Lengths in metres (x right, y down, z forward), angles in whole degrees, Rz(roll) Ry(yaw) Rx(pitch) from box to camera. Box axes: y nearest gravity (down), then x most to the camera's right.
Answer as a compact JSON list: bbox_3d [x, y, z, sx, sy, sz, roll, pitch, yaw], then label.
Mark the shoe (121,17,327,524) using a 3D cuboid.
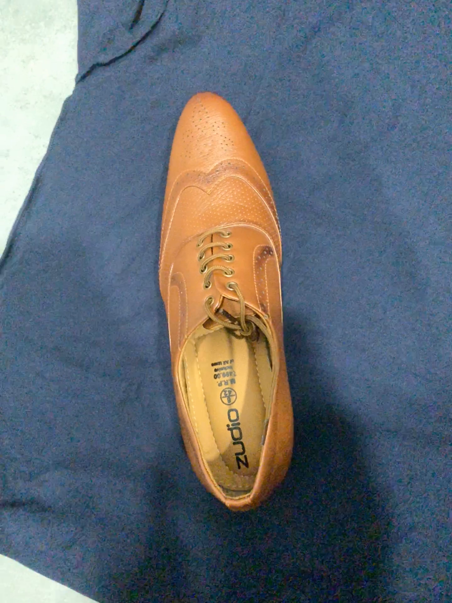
[{"bbox_3d":[0.000,-0.023,0.342,0.100,0.090,0.320,-8,81,11],"label":"shoe"}]
